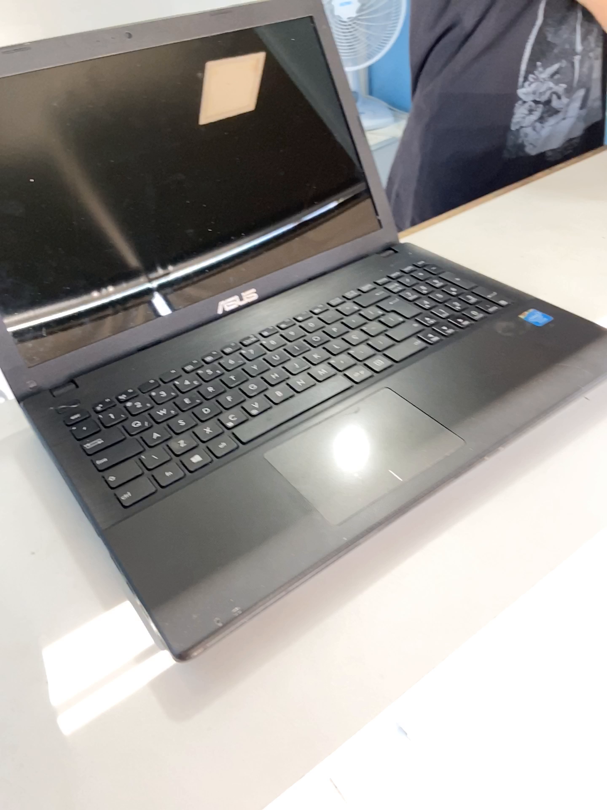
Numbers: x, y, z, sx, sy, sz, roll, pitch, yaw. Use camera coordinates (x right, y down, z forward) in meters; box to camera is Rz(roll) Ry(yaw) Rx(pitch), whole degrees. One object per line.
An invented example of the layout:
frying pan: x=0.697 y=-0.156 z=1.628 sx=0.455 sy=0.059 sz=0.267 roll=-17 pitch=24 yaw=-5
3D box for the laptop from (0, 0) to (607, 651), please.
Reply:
laptop: x=-0.025 y=-0.129 z=0.423 sx=0.368 sy=0.200 sz=0.362 roll=-28 pitch=43 yaw=-24
